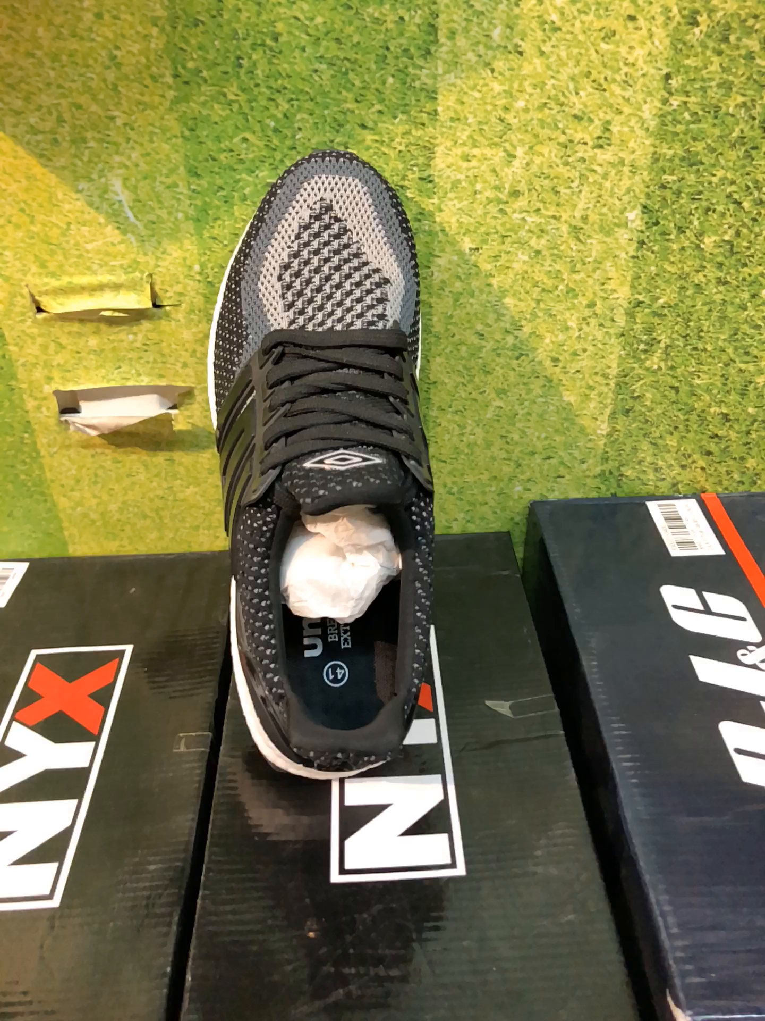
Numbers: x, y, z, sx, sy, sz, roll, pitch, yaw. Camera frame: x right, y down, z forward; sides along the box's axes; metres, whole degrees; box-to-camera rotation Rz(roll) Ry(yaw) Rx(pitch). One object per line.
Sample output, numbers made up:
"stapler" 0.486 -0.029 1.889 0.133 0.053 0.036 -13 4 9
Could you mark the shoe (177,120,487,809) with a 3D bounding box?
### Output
"shoe" -0.035 -0.016 0.389 0.111 0.121 0.270 1 76 -14
